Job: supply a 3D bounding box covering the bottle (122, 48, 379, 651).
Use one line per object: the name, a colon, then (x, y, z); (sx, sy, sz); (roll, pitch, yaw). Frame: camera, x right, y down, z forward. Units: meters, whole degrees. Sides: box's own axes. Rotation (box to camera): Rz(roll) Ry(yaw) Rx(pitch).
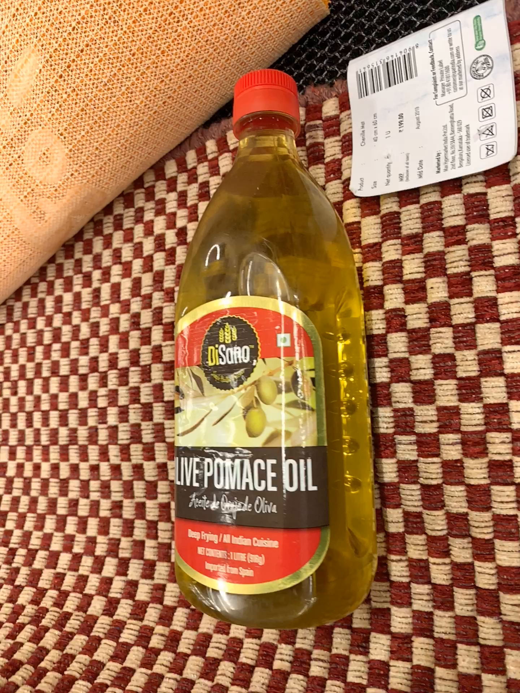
bottle: (0.001, 0.000, 0.239); (0.080, 0.080, 0.210); (-3, 82, 26)
